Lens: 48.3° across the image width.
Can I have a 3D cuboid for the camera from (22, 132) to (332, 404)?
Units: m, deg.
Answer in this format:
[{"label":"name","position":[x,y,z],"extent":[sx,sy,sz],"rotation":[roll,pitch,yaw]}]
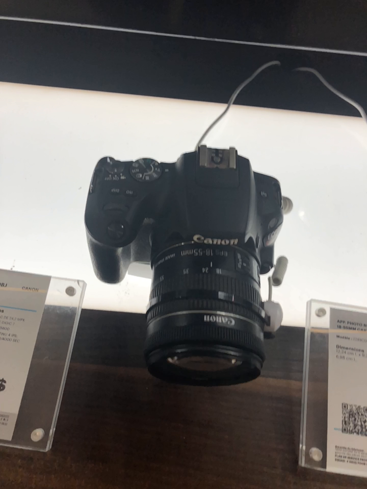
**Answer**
[{"label":"camera","position":[-0.001,0.014,0.230],"extent":[0.124,0.082,0.118],"rotation":[5,56,-1]}]
